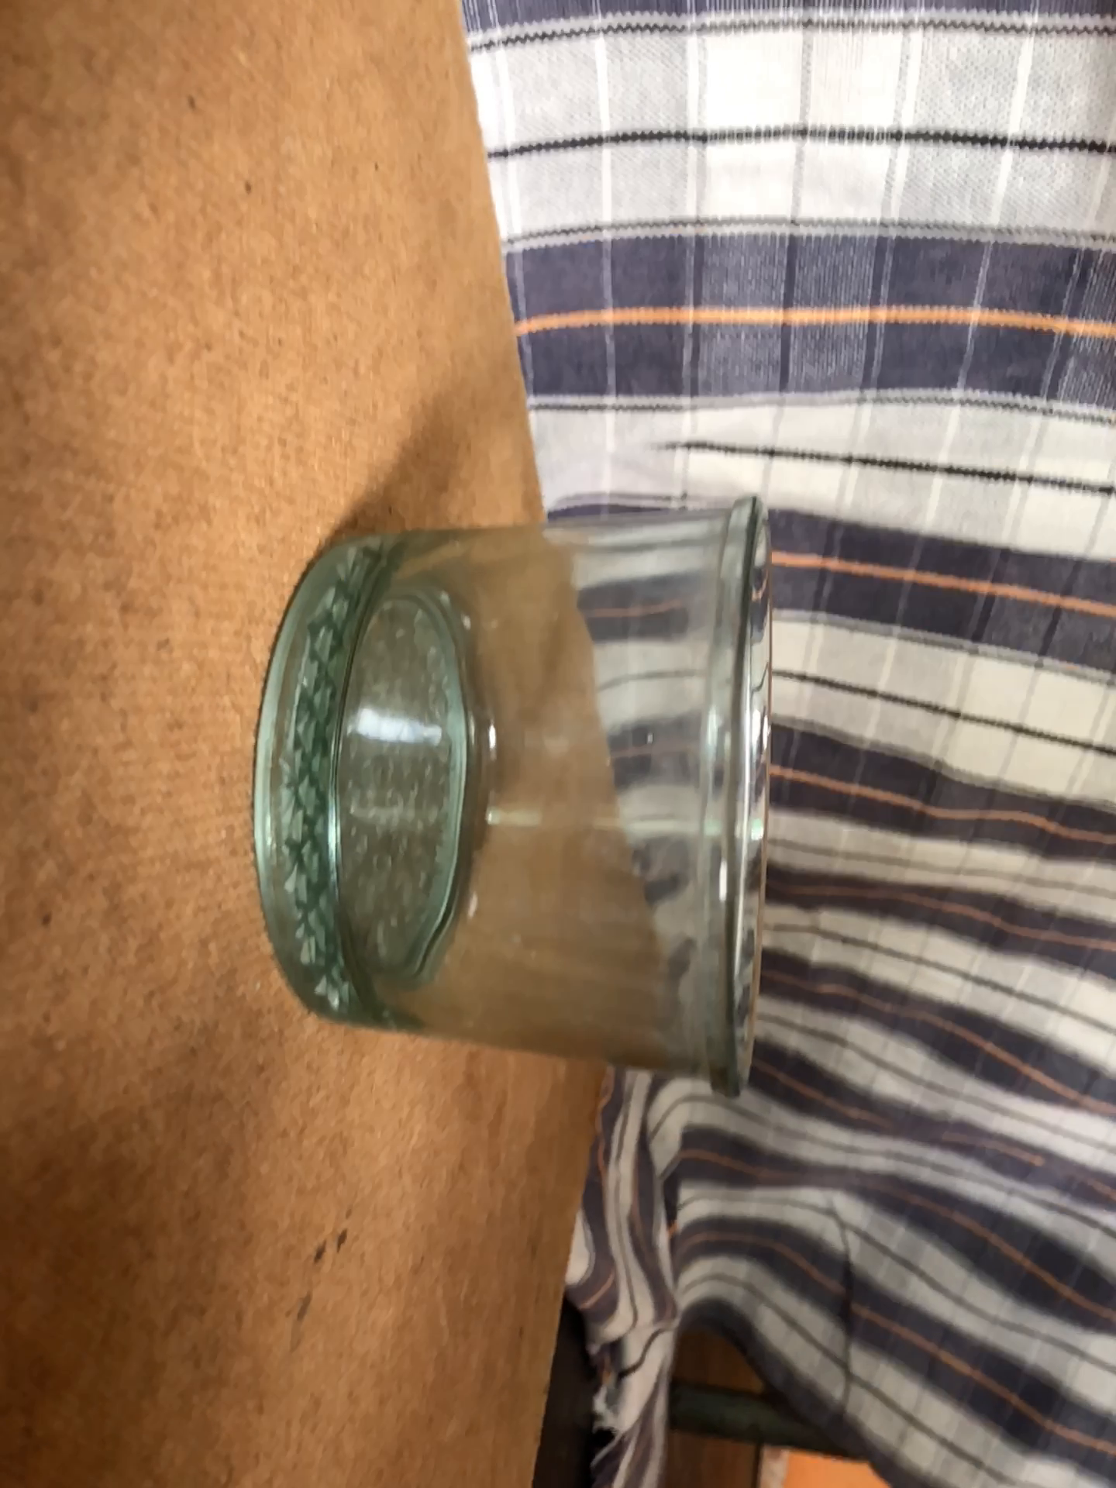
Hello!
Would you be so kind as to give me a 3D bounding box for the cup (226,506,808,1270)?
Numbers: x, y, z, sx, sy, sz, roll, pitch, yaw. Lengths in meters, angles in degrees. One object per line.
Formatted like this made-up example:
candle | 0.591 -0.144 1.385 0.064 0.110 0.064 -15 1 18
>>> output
cup | 0.003 0.013 0.174 0.070 0.060 0.080 -58 147 -68
